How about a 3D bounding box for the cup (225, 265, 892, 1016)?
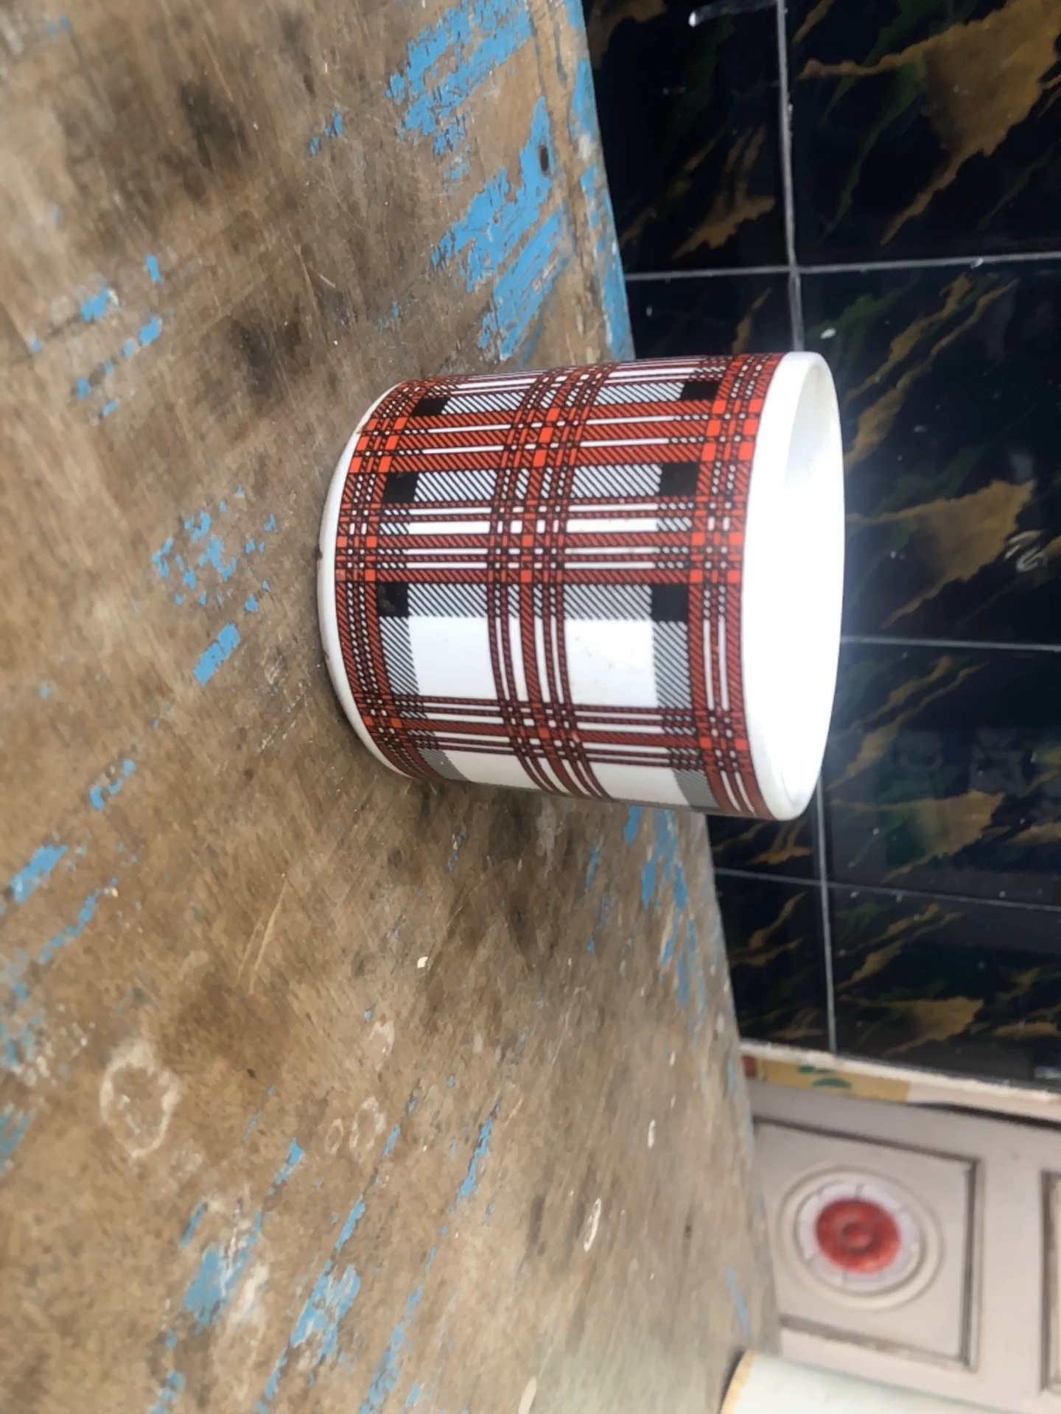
[{"bbox_3d":[0.017,-0.006,0.204,0.110,0.079,0.060,71,30,-45],"label":"cup"}]
